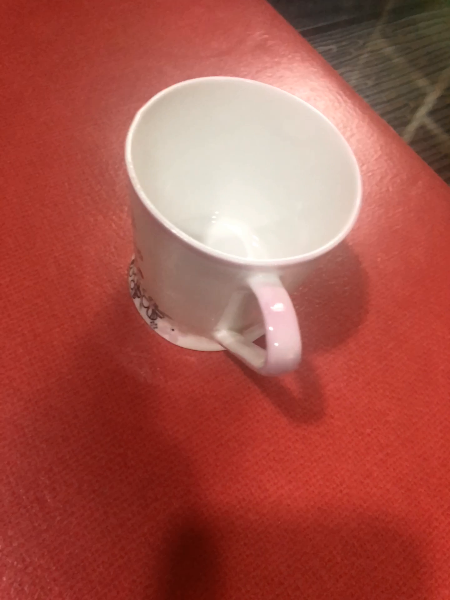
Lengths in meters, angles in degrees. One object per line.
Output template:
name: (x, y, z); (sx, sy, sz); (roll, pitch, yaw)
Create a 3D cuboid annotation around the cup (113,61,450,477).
cup: (0.011, -0.010, 0.171); (0.070, 0.080, 0.100); (-14, 65, -20)
